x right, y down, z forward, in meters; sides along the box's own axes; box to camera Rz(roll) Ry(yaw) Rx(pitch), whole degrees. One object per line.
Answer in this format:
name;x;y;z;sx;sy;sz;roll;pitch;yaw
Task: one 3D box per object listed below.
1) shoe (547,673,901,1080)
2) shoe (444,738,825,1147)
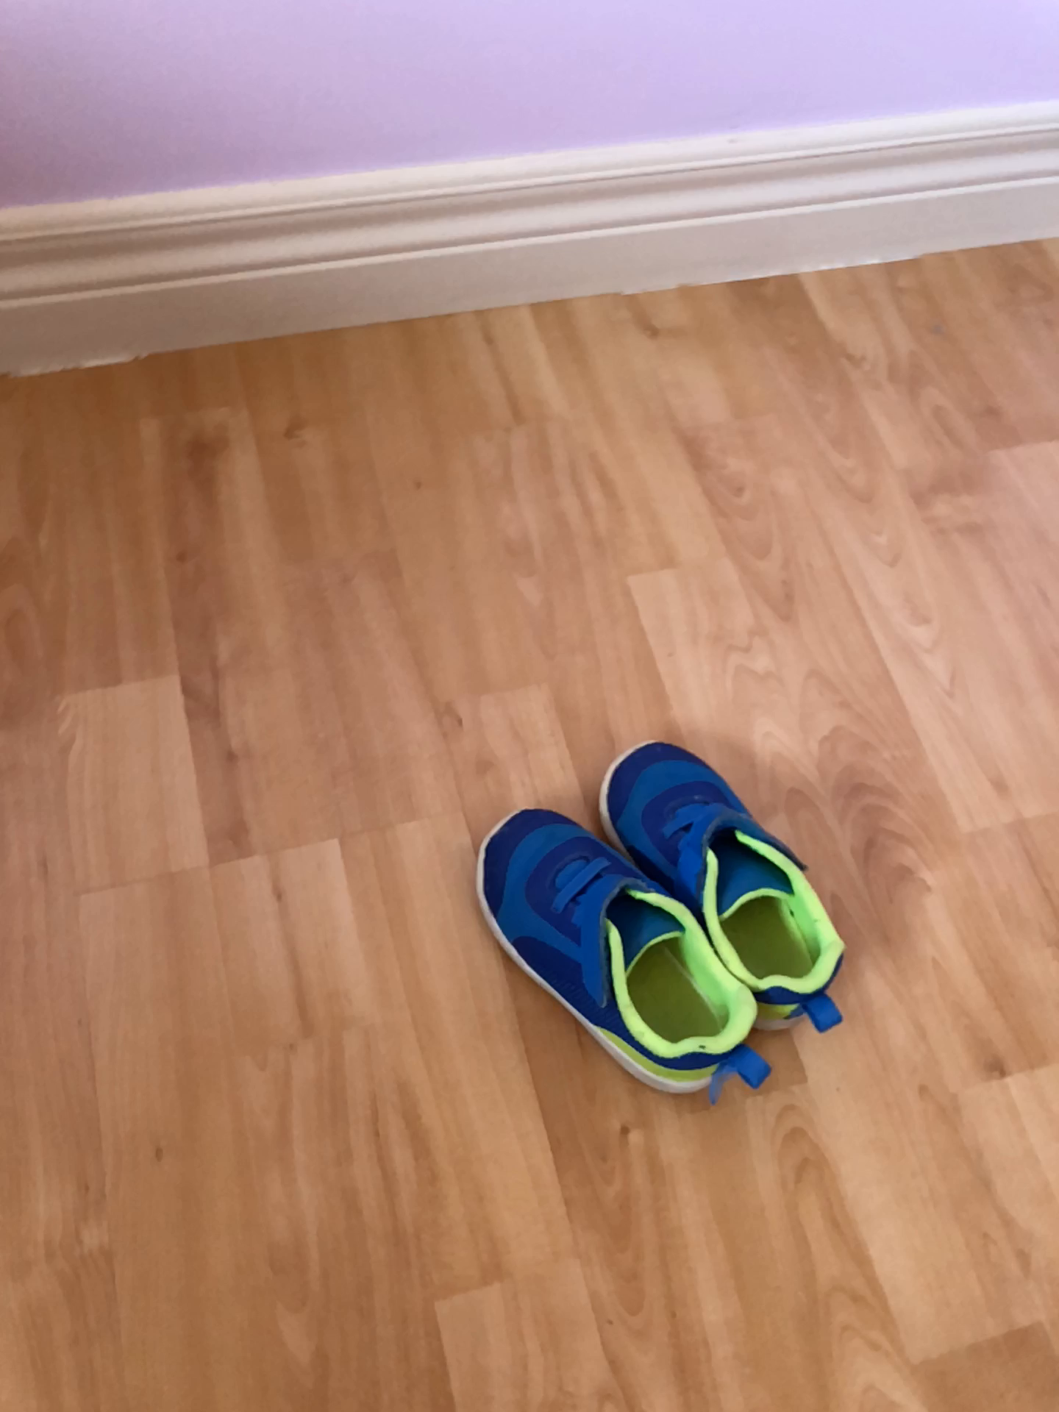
shoe;0.085;0.079;0.559;0.080;0.070;0.160;-24;67;-17
shoe;0.042;0.109;0.548;0.080;0.070;0.160;-36;71;-22
